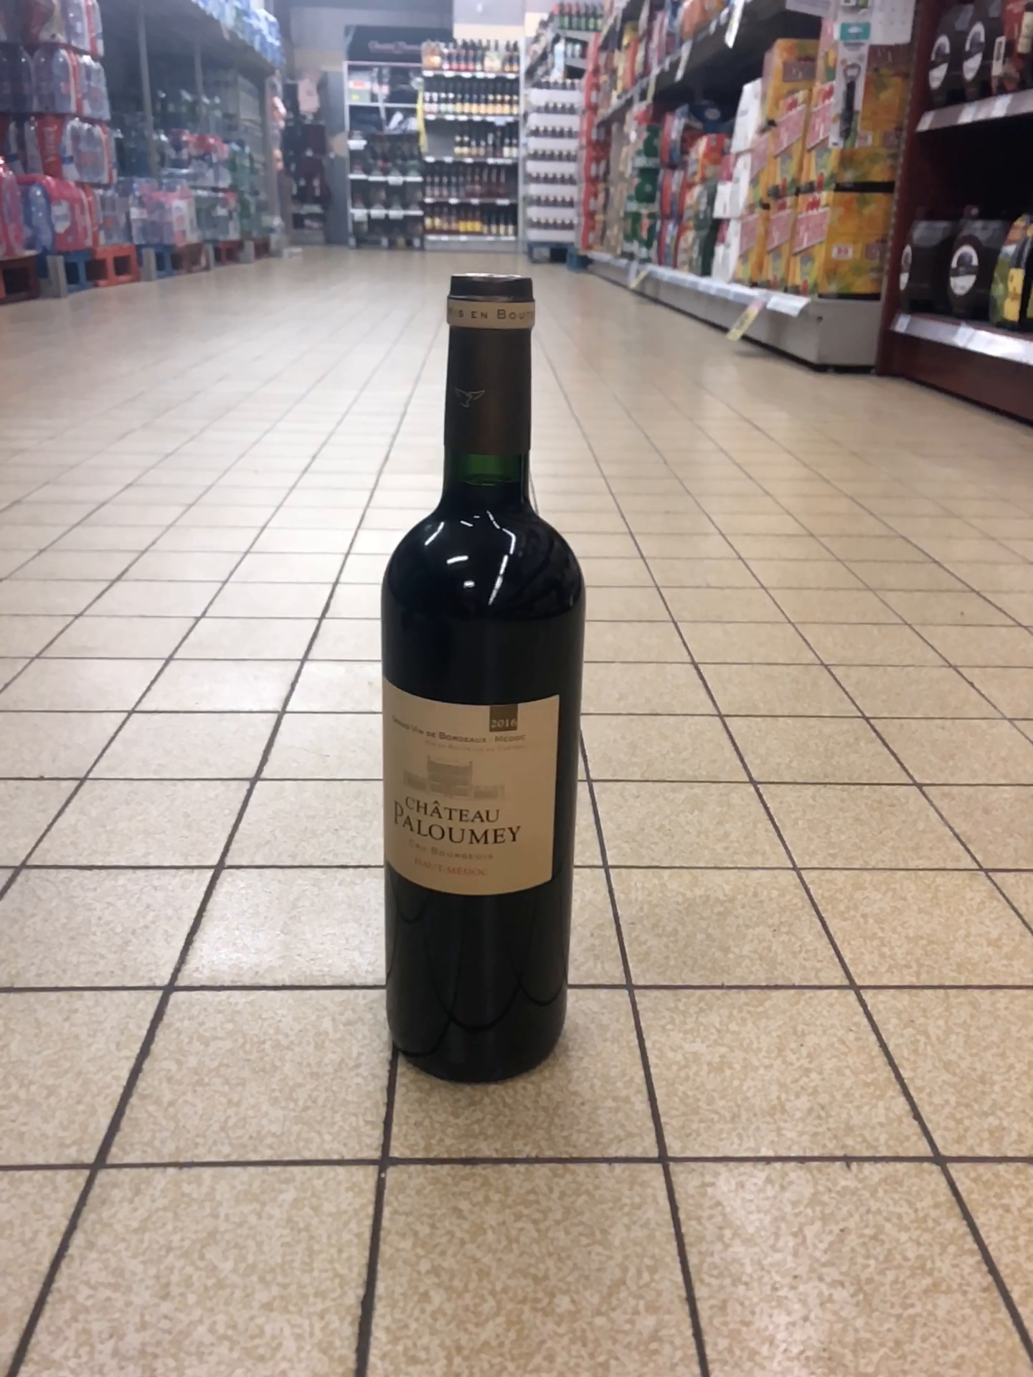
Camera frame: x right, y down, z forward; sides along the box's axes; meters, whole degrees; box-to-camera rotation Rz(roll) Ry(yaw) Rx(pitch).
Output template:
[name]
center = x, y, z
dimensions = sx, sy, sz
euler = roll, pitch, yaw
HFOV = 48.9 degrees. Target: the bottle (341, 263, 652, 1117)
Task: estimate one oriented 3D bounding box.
[bottle]
center = -0.005, 0.002, 0.412
dimensions = 0.080, 0.289, 0.091
euler = 6, 21, 11
